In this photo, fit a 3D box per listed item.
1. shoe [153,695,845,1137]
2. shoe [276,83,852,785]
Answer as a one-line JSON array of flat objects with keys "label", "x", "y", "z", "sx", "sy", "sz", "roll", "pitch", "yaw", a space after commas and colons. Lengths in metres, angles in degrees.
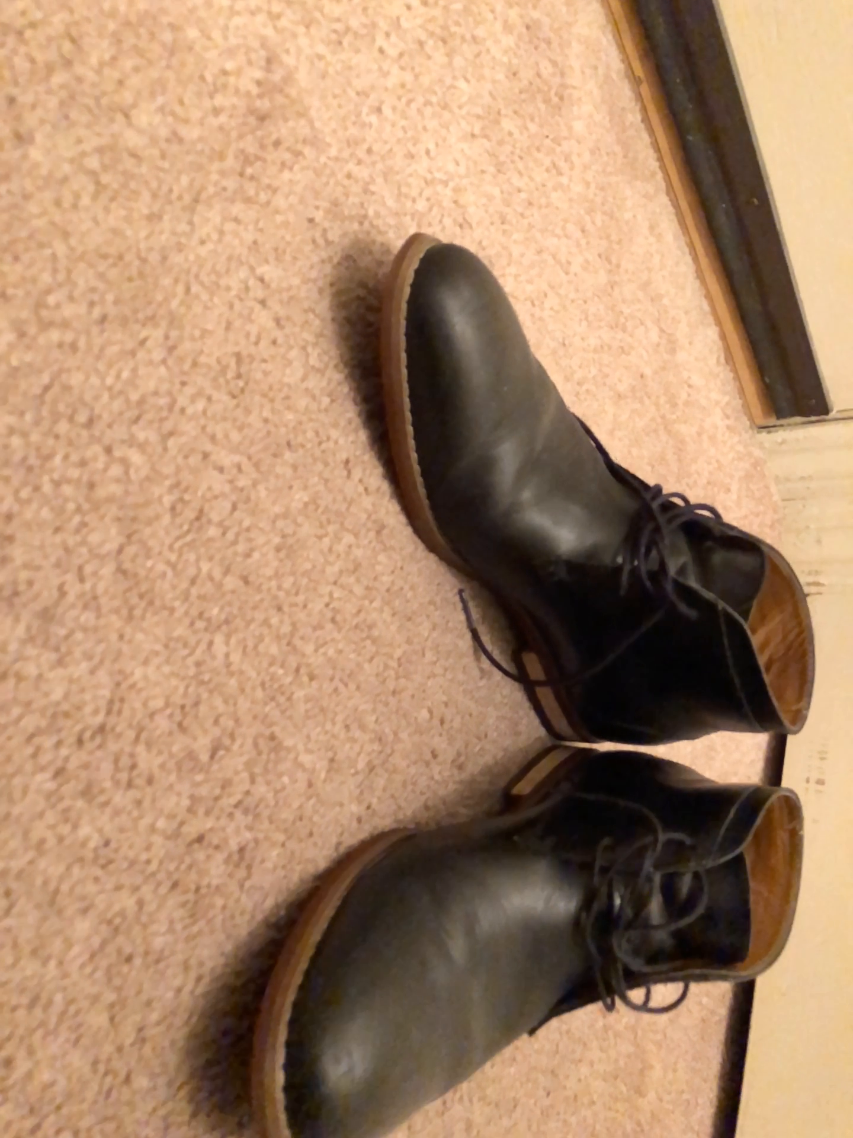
[{"label": "shoe", "x": 0.064, "y": 0.156, "z": 0.378, "sx": 0.304, "sy": 0.135, "sz": 0.116, "roll": -19, "pitch": 105, "yaw": -54}, {"label": "shoe", "x": 0.091, "y": -0.029, "z": 0.429, "sx": 0.303, "sy": 0.135, "sz": 0.116, "roll": 52, "pitch": 48, "yaw": -41}]
